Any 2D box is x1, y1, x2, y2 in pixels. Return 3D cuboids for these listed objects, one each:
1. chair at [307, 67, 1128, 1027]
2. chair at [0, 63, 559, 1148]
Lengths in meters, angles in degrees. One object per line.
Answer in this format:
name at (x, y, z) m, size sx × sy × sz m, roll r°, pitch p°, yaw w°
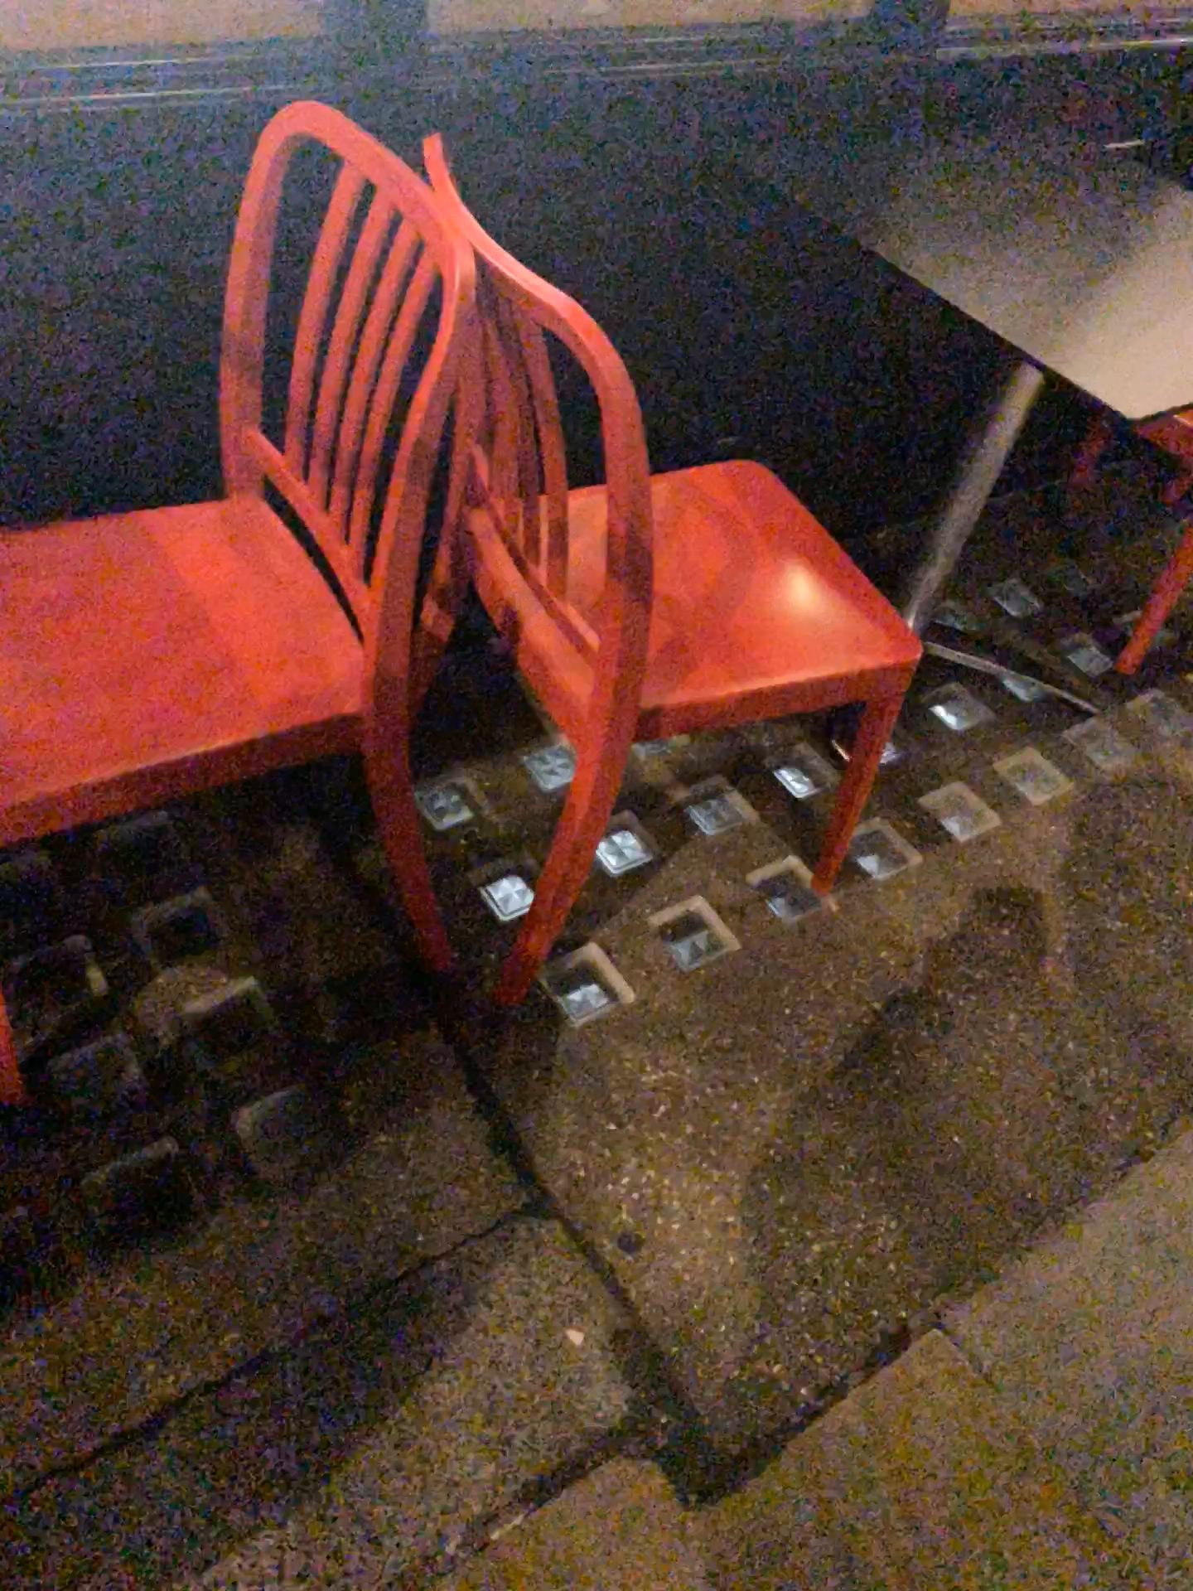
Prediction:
chair at (0.049, -0.290, 1.429) m, size 0.562 × 0.851 × 0.574 m, roll -17°, pitch 50°, yaw -24°
chair at (-0.446, -0.187, 1.251) m, size 0.542 × 0.851 × 0.544 m, roll -20°, pitch 51°, yaw -27°
